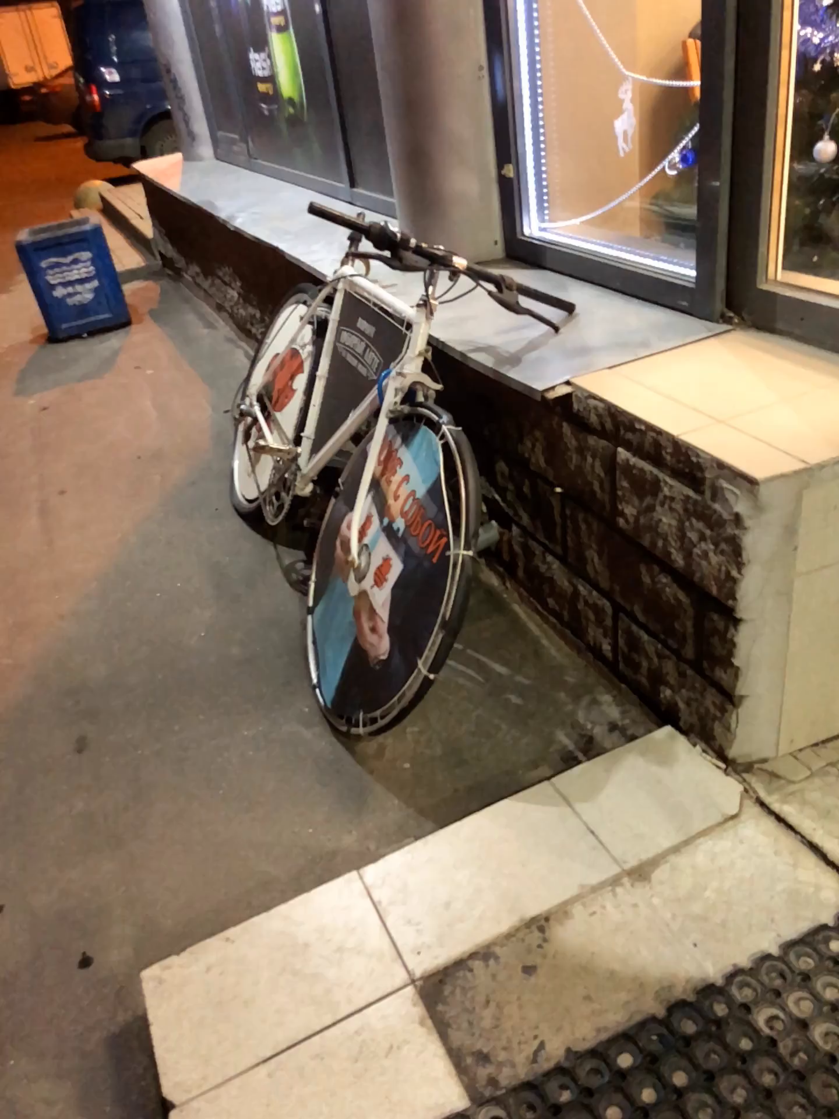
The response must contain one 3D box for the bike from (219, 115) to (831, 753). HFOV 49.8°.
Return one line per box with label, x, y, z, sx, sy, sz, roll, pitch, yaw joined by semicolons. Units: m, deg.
bike;0.062;-0.459;2.074;0.569;0.917;1.593;-16;31;-14
